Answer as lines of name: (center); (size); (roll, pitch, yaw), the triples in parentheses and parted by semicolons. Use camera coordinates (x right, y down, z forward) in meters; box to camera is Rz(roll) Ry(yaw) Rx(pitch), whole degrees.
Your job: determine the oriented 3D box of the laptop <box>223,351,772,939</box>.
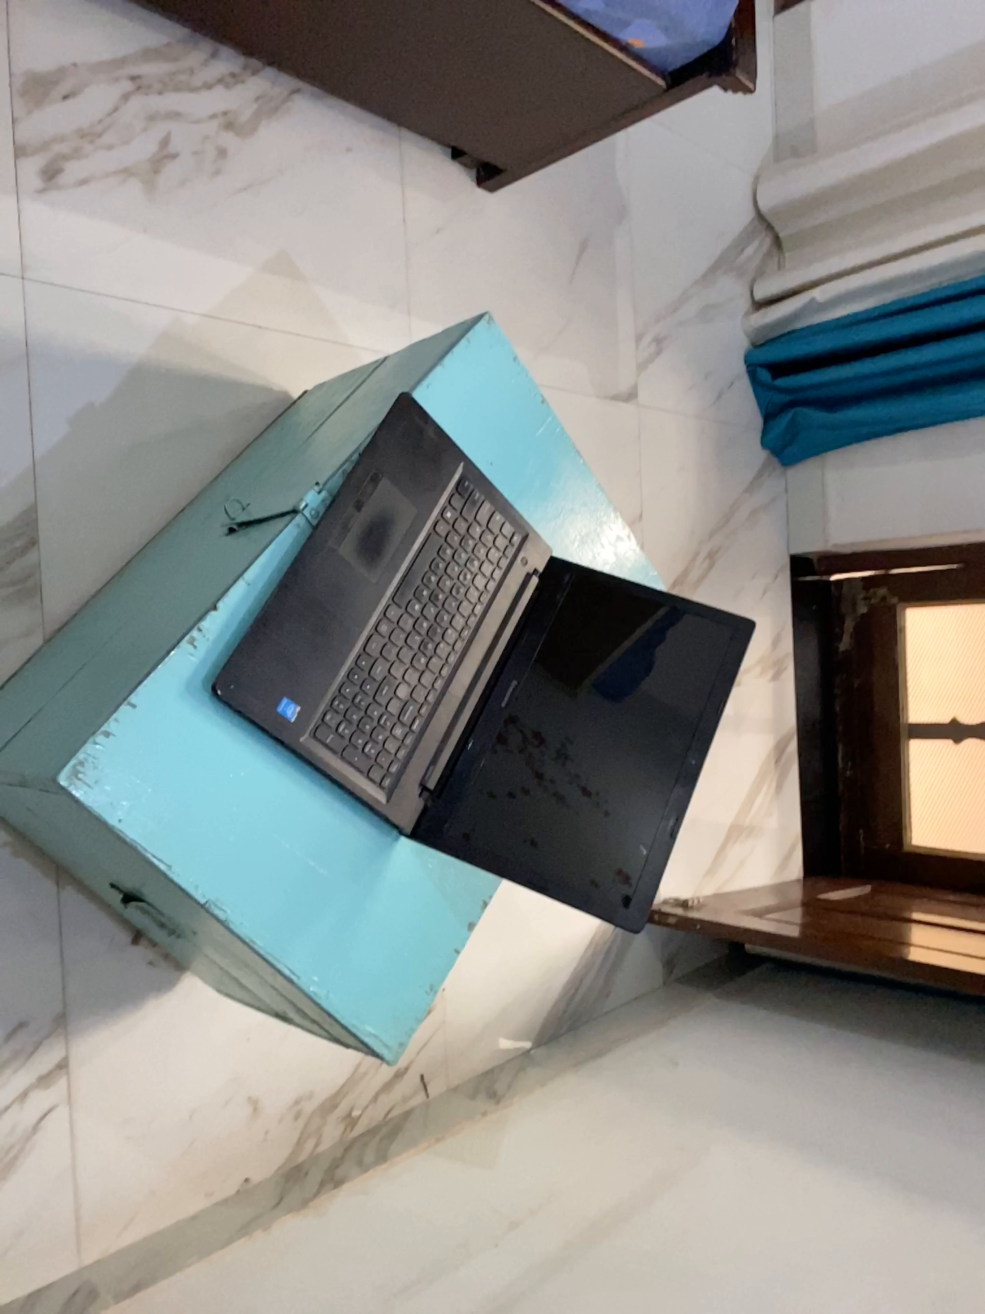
laptop: (0.038, -0.001, 1.004); (0.424, 0.190, 0.371); (43, 60, -31)
